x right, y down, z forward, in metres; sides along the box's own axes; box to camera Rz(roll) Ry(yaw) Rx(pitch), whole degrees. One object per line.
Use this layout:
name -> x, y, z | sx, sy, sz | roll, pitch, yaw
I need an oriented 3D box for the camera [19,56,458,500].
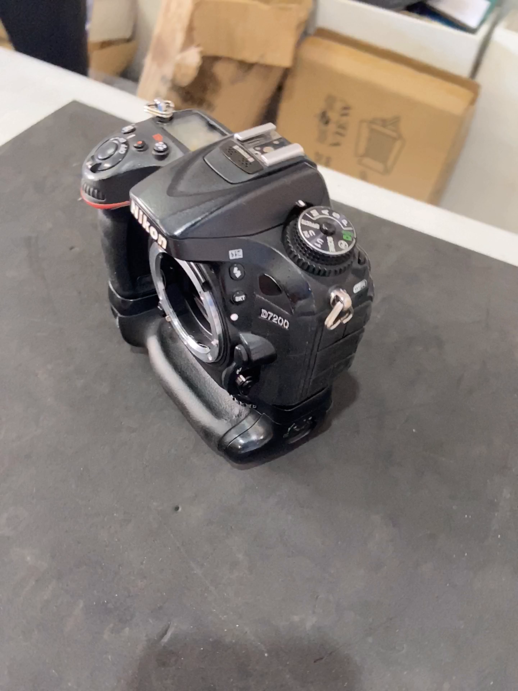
camera -> -0.016, -0.036, 0.242 | 0.100, 0.109, 0.140 | -29, 58, -25
